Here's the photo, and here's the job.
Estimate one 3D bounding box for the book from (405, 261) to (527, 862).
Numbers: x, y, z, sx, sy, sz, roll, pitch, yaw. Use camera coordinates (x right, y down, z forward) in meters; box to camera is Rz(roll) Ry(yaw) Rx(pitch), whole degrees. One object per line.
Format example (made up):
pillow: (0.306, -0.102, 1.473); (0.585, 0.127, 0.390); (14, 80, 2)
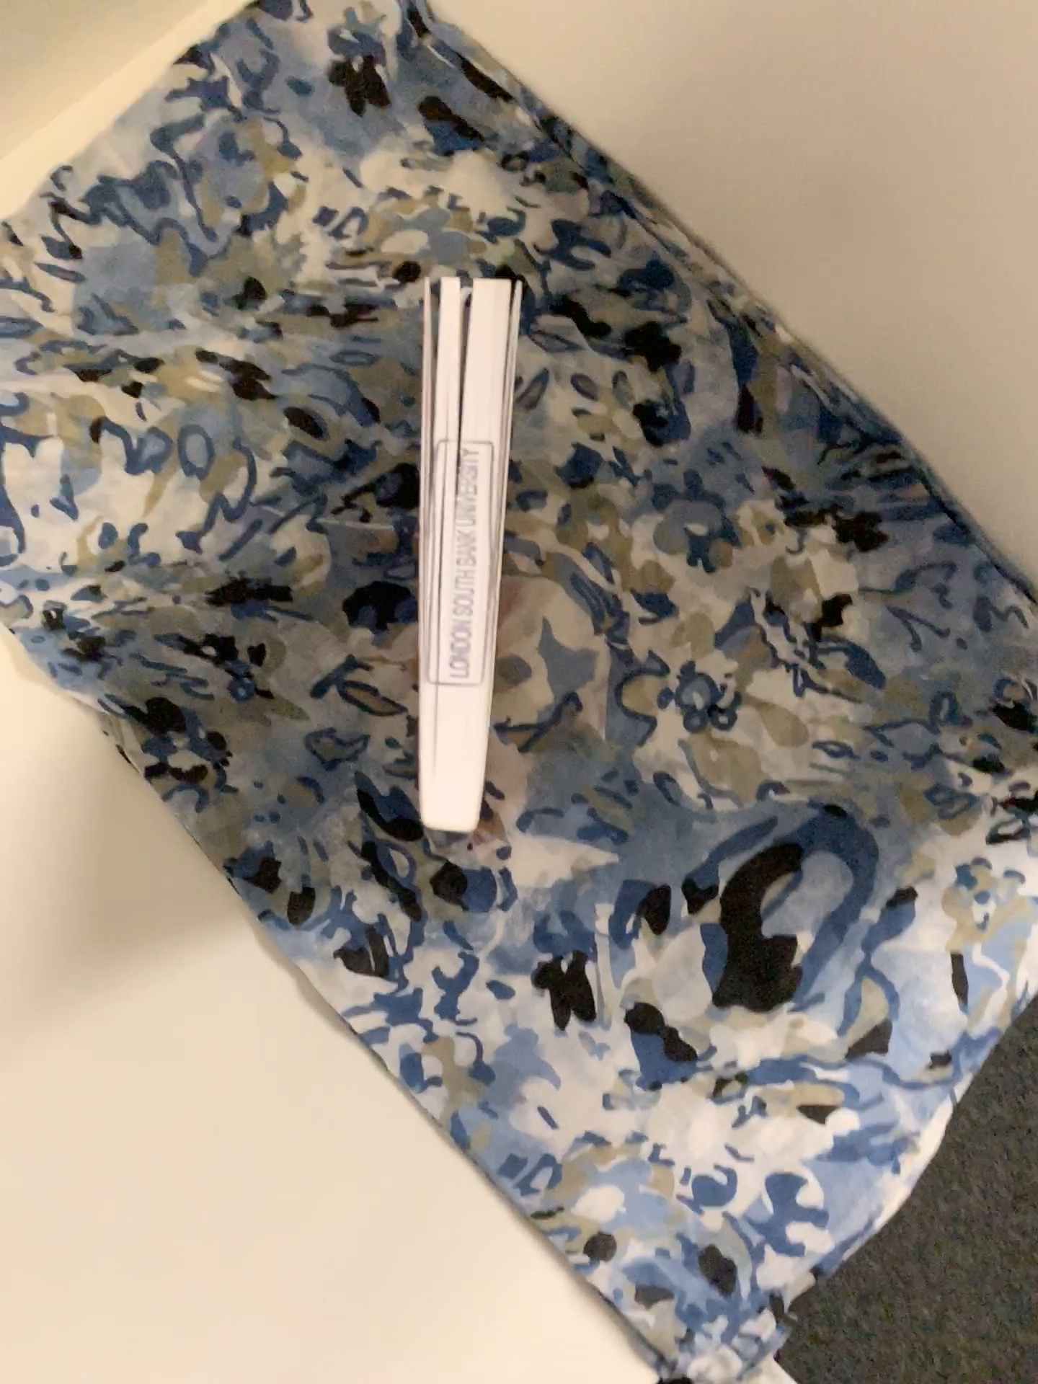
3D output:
book: (-0.017, -0.018, 0.349); (0.024, 0.204, 0.140); (2, 79, -3)
